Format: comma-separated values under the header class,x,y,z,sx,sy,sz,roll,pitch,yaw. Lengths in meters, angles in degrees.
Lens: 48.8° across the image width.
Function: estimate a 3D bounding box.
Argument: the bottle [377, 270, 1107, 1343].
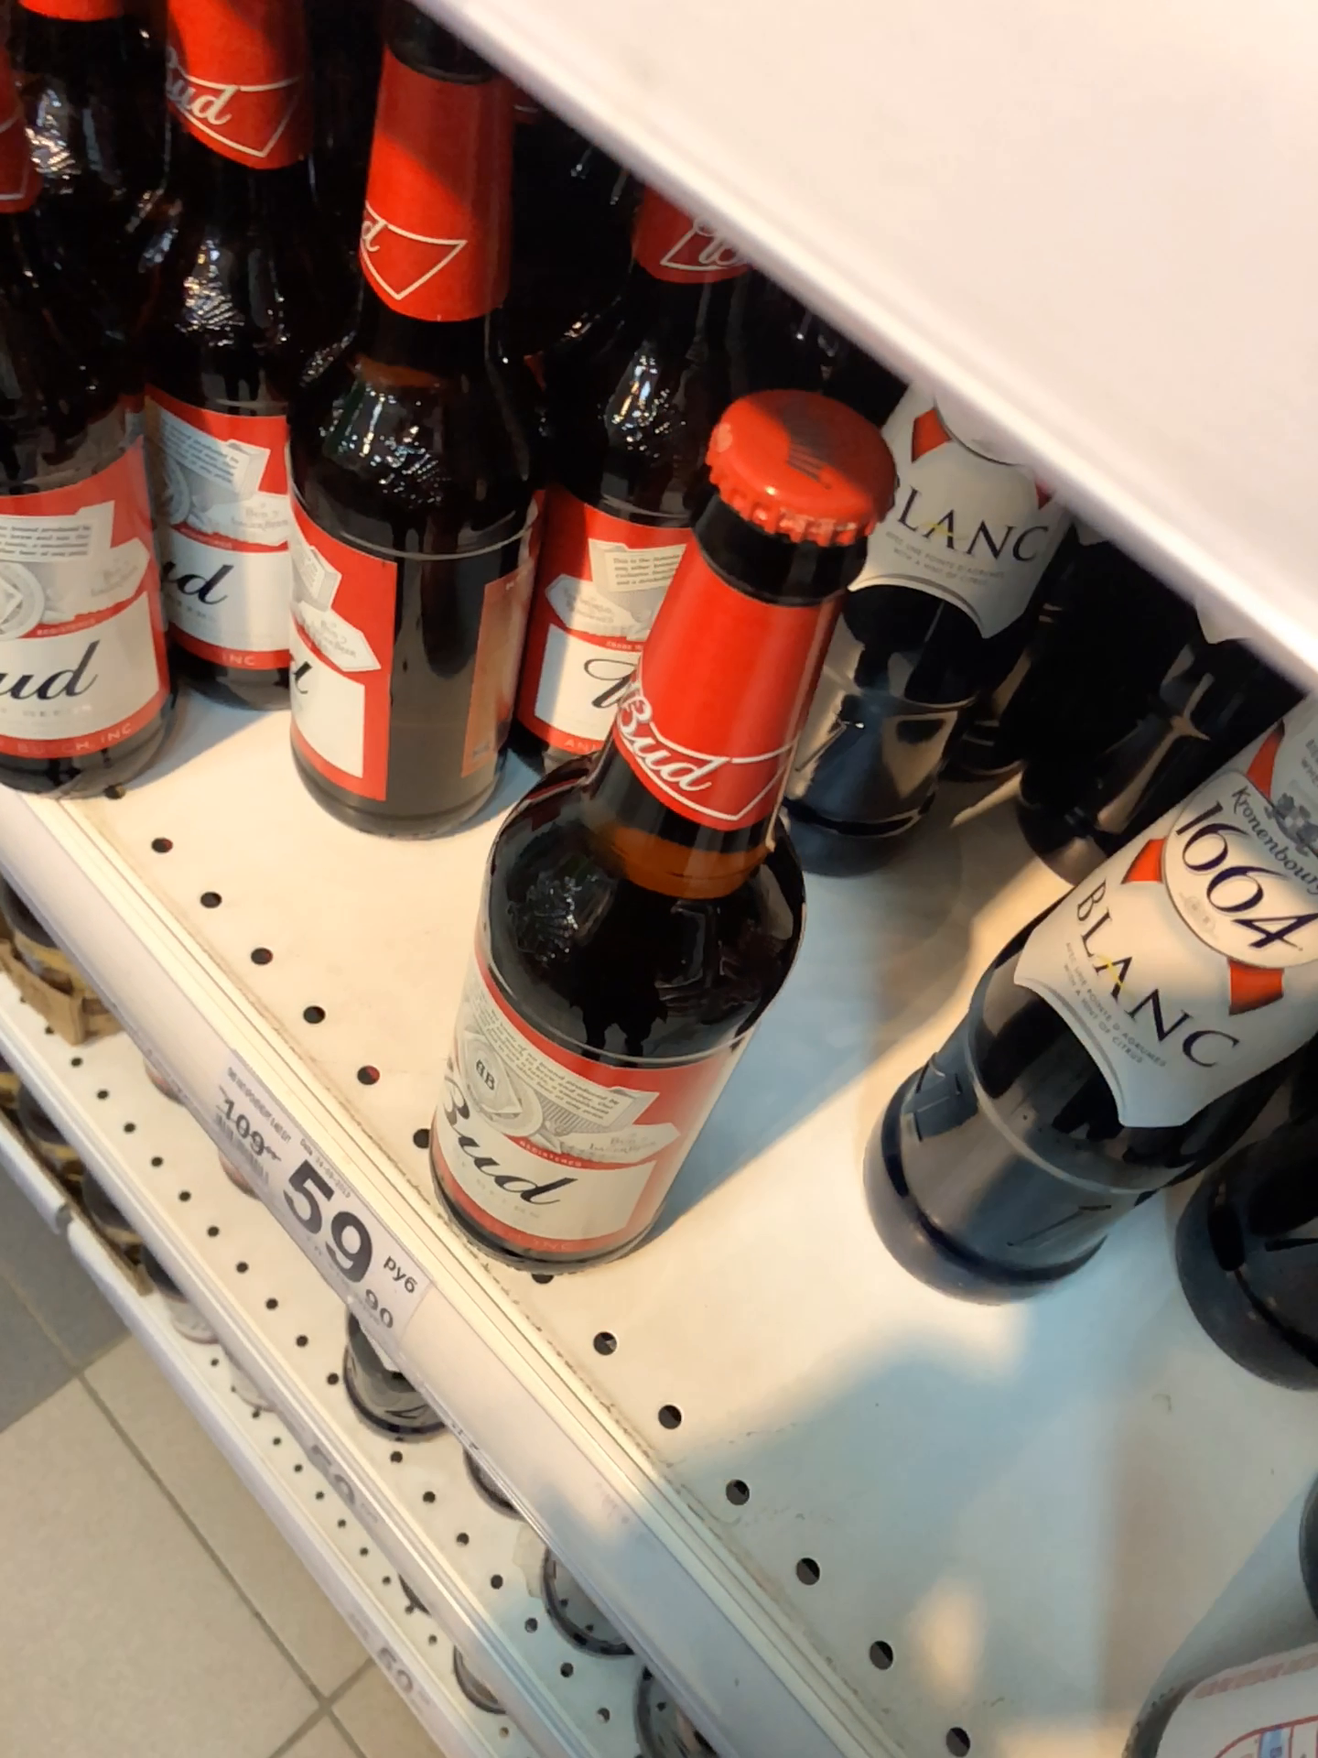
class,x,y,z,sx,sy,sz,roll,pitch,yaw
bottle,-0.007,0.010,0.315,0.070,0.249,0.080,-27,65,-27
